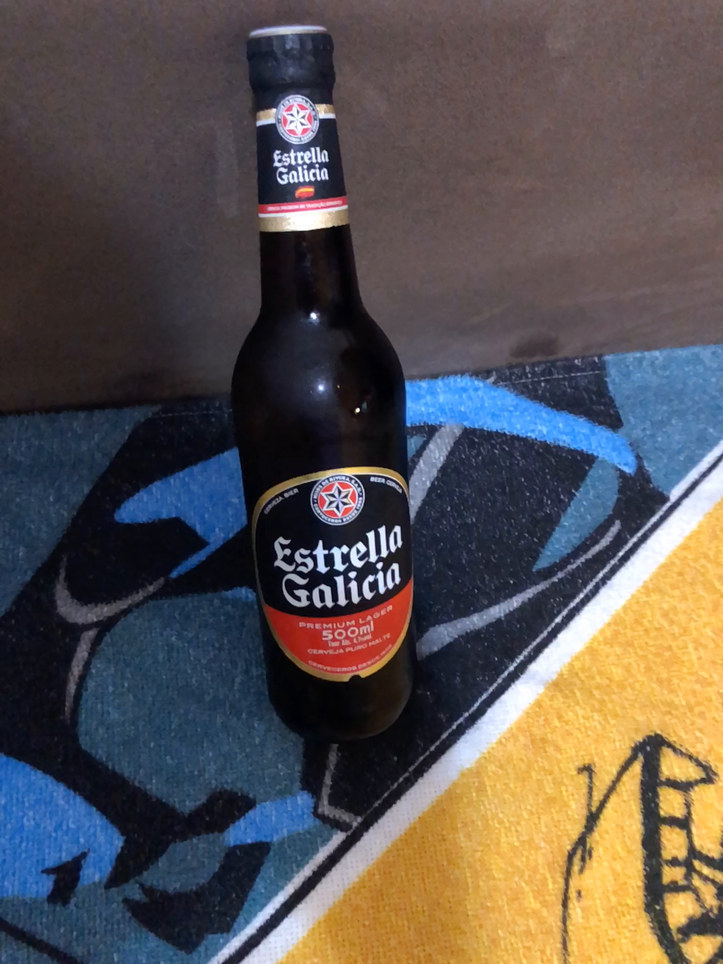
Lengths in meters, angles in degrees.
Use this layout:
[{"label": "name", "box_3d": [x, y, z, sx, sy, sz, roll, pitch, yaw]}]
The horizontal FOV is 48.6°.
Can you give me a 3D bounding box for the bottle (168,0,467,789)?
[{"label": "bottle", "box_3d": [-0.011, -0.023, 0.307, 0.080, 0.269, 0.080, -3, 22, 1]}]
